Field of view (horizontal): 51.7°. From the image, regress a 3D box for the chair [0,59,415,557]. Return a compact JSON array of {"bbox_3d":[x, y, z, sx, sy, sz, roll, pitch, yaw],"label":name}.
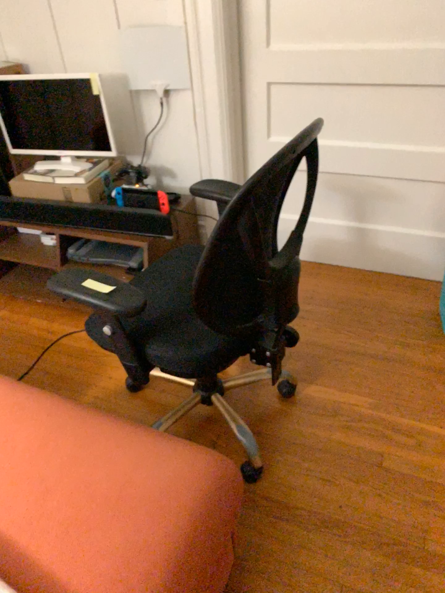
[{"bbox_3d":[-0.044,0.004,1.227,0.662,0.974,0.642,23,44,26],"label":"chair"}]
